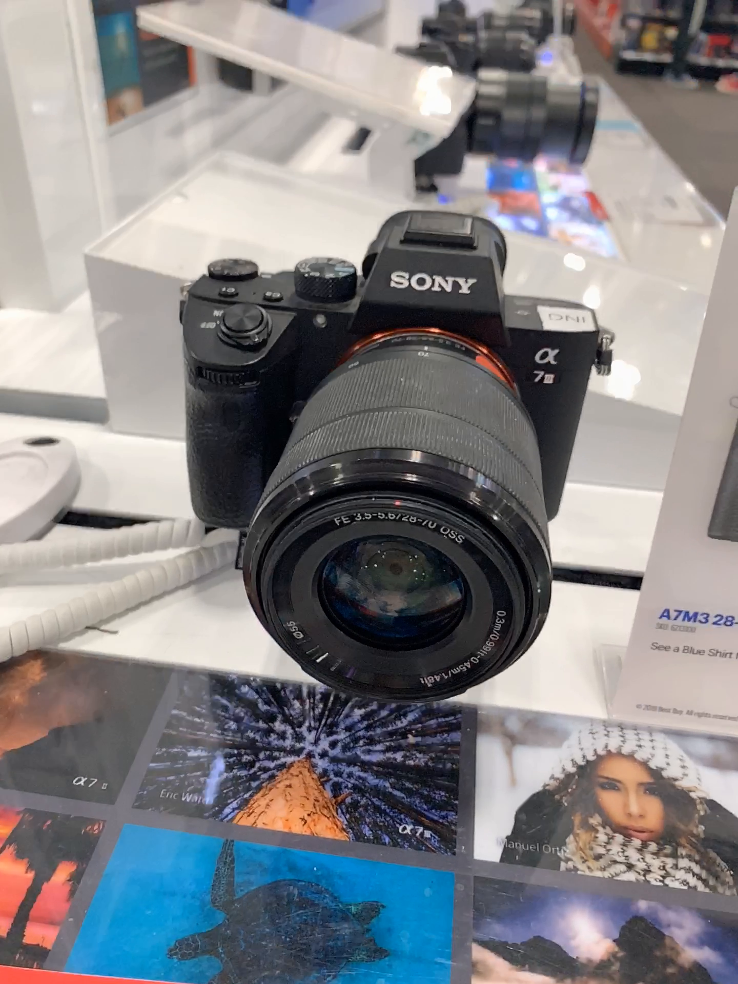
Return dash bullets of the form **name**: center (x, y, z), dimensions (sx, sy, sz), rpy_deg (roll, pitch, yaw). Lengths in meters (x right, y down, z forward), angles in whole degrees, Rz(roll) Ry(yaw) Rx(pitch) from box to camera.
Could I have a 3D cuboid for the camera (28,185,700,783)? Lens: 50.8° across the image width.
- **camera**: center (0.001, -0.014, 0.223), dimensions (0.119, 0.099, 0.141), rpy_deg (4, 36, 2)
